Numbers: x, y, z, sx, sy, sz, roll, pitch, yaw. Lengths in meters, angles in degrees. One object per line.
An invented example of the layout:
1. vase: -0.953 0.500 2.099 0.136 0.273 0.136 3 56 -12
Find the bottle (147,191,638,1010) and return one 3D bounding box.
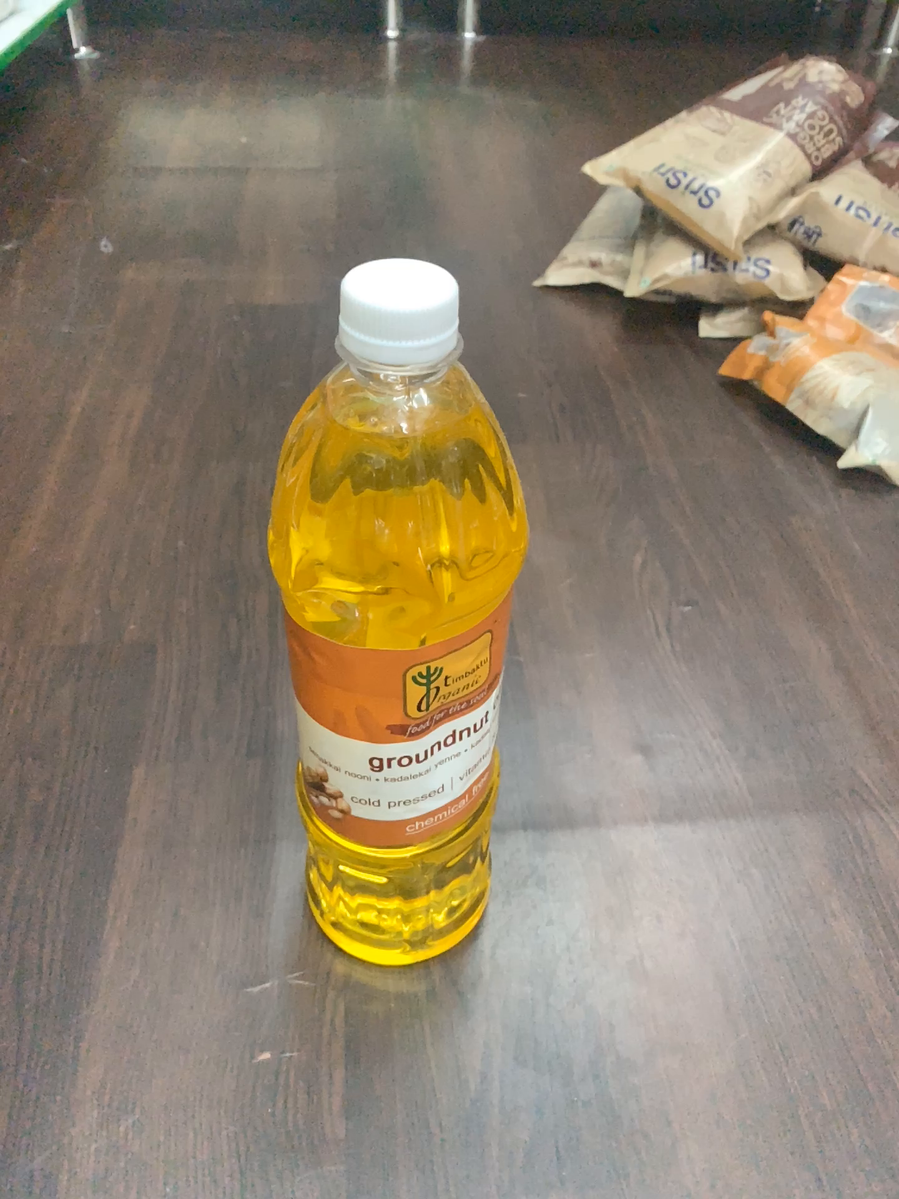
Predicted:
1. bottle: -0.019 0.021 0.296 0.090 0.259 0.070 -18 46 -22
